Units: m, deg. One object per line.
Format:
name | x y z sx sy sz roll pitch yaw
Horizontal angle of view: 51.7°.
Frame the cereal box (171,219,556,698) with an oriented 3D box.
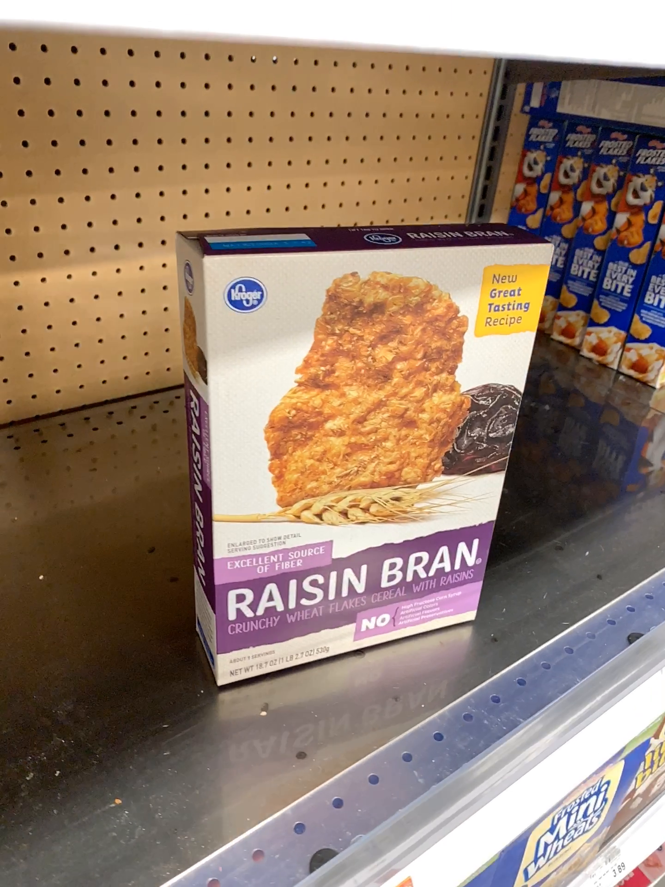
cereal box | 0.011 0.013 0.408 0.190 0.269 0.050 -9 32 -22
